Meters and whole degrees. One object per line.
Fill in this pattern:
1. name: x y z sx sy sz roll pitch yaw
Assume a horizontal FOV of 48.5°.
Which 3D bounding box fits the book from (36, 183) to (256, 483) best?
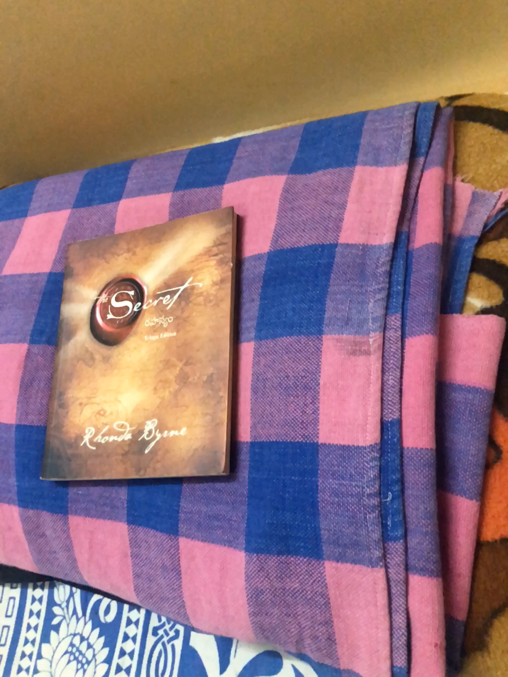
1. book: -0.073 -0.001 0.385 0.150 0.020 0.190 -8 68 27
